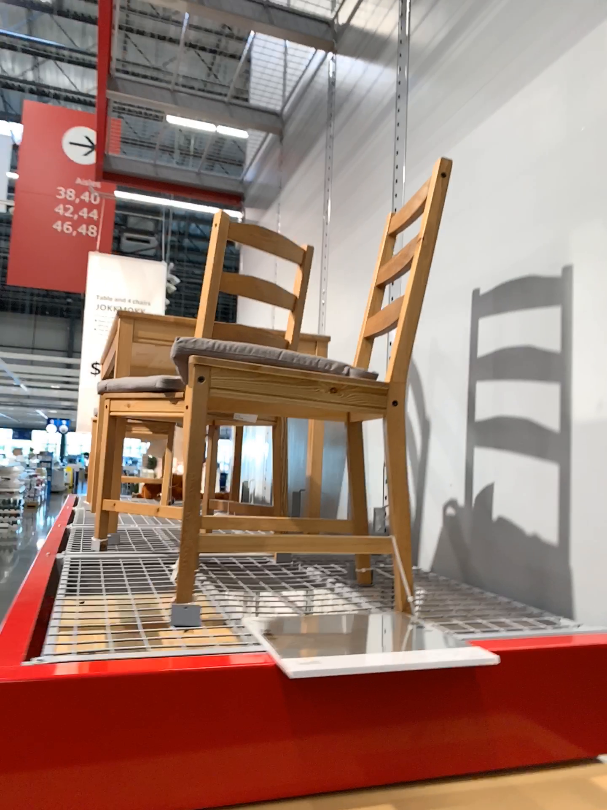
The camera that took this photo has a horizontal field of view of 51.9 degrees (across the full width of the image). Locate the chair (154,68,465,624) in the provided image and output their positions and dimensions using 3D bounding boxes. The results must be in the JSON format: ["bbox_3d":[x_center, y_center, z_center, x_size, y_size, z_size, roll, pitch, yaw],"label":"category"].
[{"bbox_3d":[-0.014,-0.083,1.279,0.500,0.911,0.439,4,-6,-14],"label":"chair"}]
